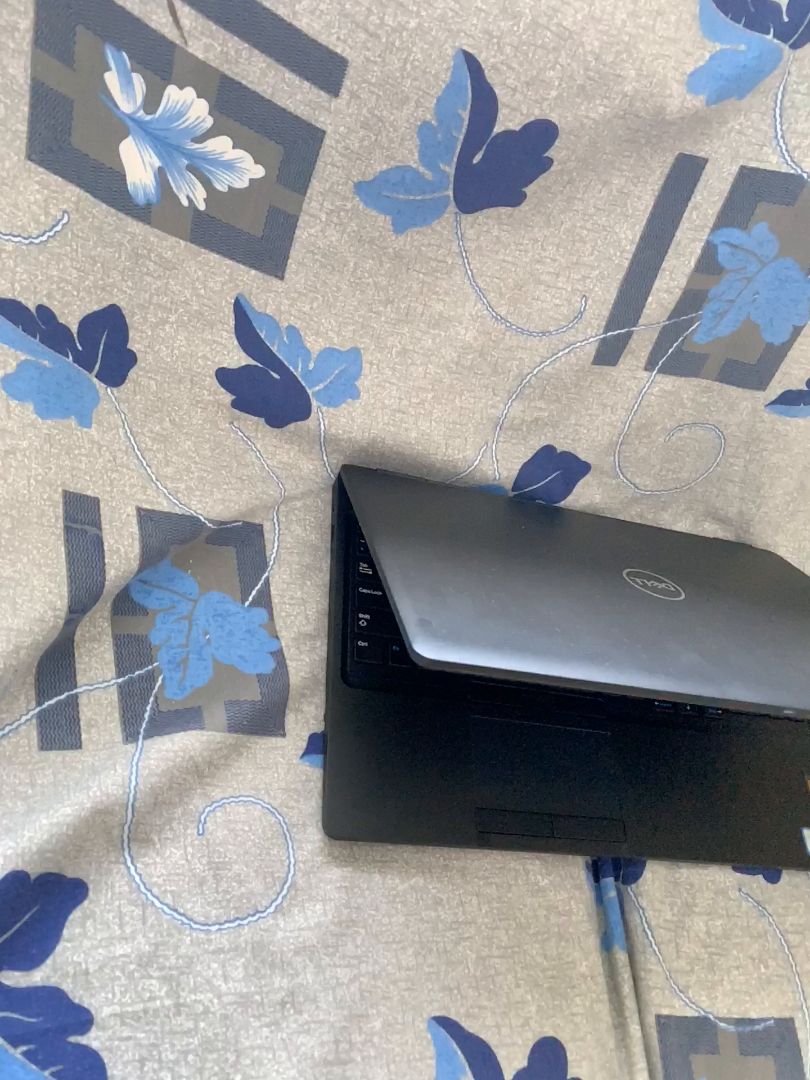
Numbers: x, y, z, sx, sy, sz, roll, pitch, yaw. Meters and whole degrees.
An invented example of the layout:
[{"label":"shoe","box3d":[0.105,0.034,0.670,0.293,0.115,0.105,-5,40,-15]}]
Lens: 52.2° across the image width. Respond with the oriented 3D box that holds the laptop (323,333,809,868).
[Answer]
[{"label":"laptop","box3d":[0.156,0.053,0.501,0.372,0.142,0.239,10,57,-17]}]
